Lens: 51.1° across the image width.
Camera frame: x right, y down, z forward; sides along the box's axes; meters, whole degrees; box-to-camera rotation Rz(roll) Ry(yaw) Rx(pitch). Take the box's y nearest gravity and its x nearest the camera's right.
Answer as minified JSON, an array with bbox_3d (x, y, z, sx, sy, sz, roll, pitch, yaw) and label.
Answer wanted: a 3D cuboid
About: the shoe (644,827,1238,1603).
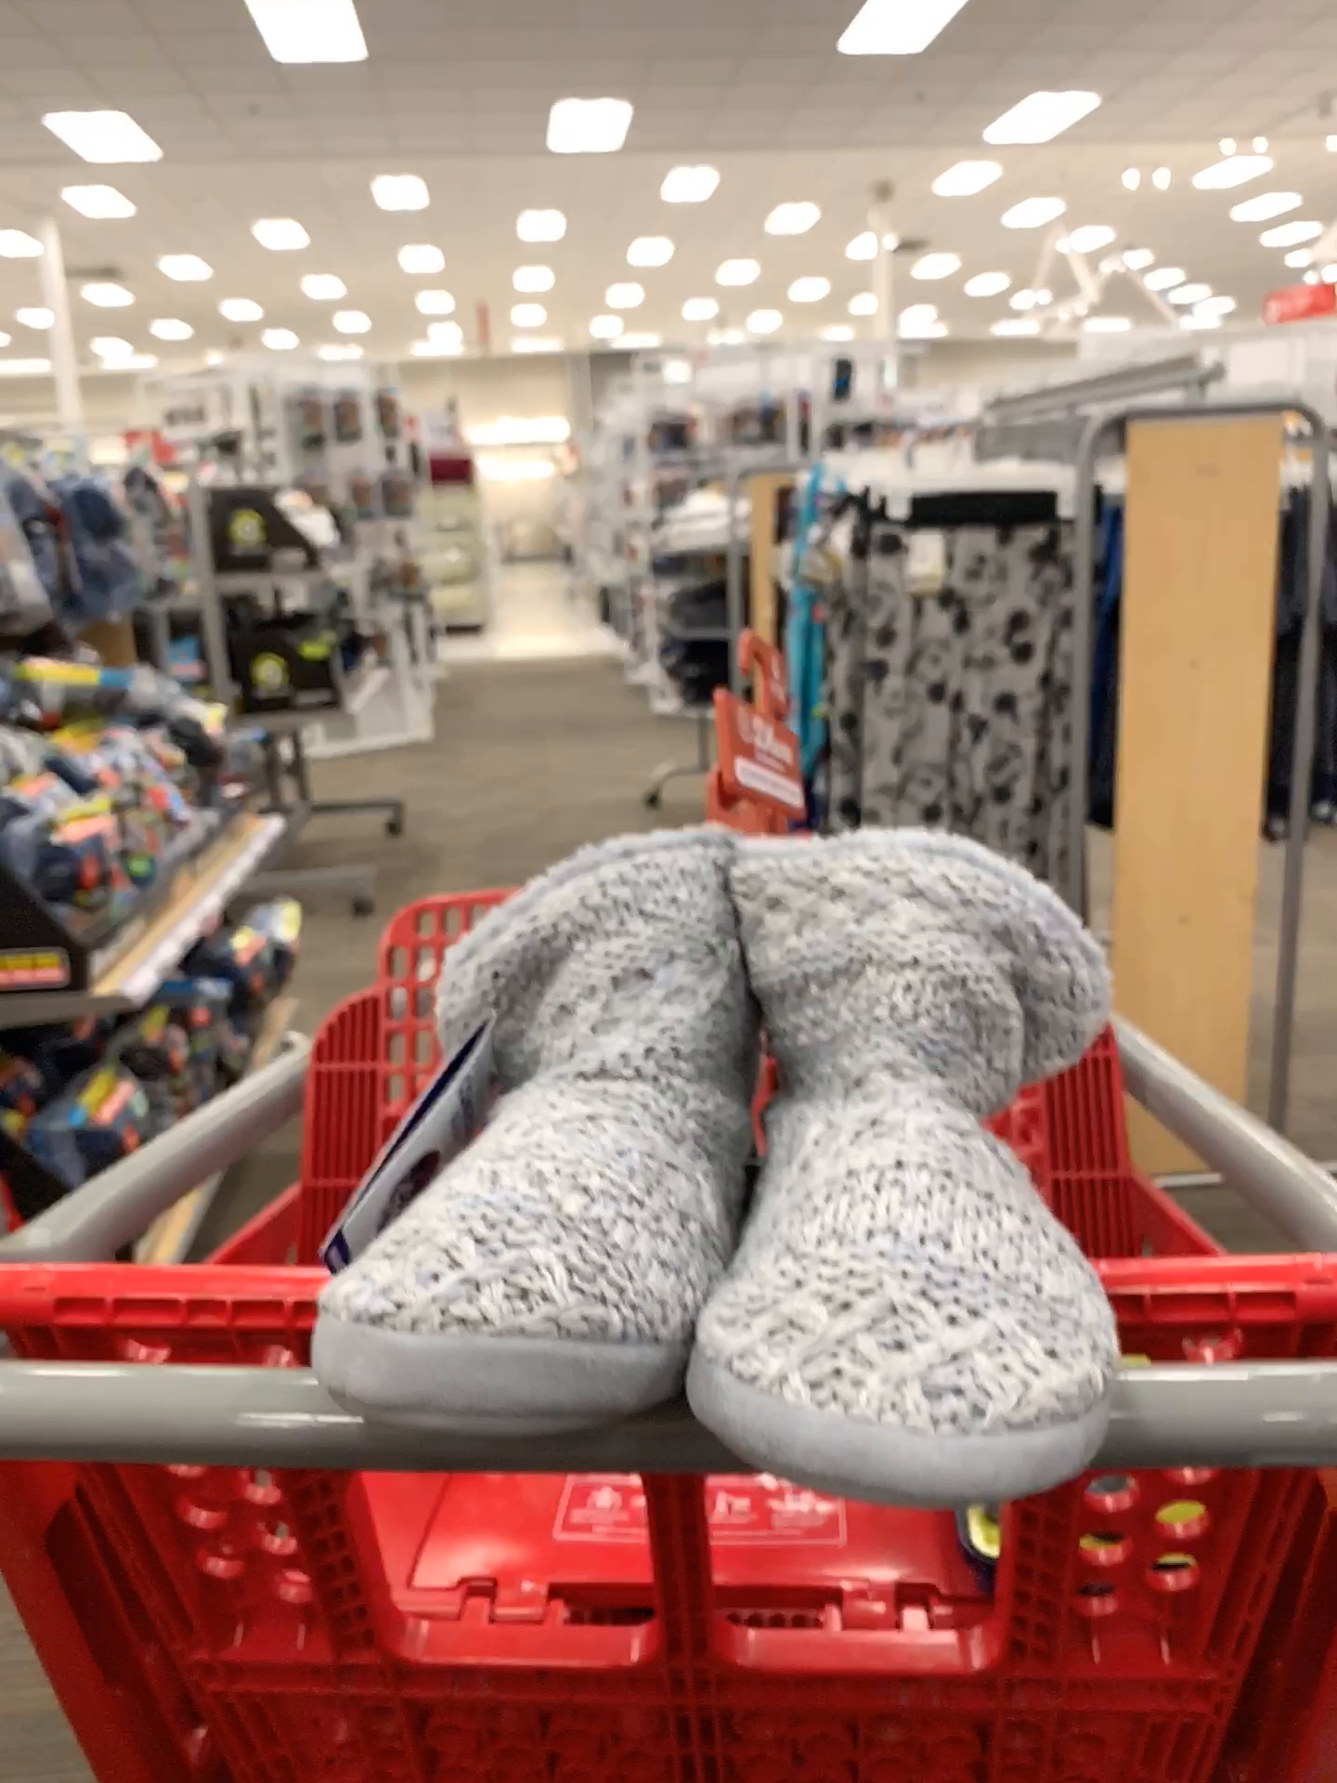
[{"bbox_3d":[0.073,0.058,0.385,0.110,0.120,0.231,0,11,11],"label":"shoe"}]

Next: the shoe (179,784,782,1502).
[{"bbox_3d":[-0.034,0.050,0.446,0.110,0.140,0.251,0,11,11],"label":"shoe"}]
